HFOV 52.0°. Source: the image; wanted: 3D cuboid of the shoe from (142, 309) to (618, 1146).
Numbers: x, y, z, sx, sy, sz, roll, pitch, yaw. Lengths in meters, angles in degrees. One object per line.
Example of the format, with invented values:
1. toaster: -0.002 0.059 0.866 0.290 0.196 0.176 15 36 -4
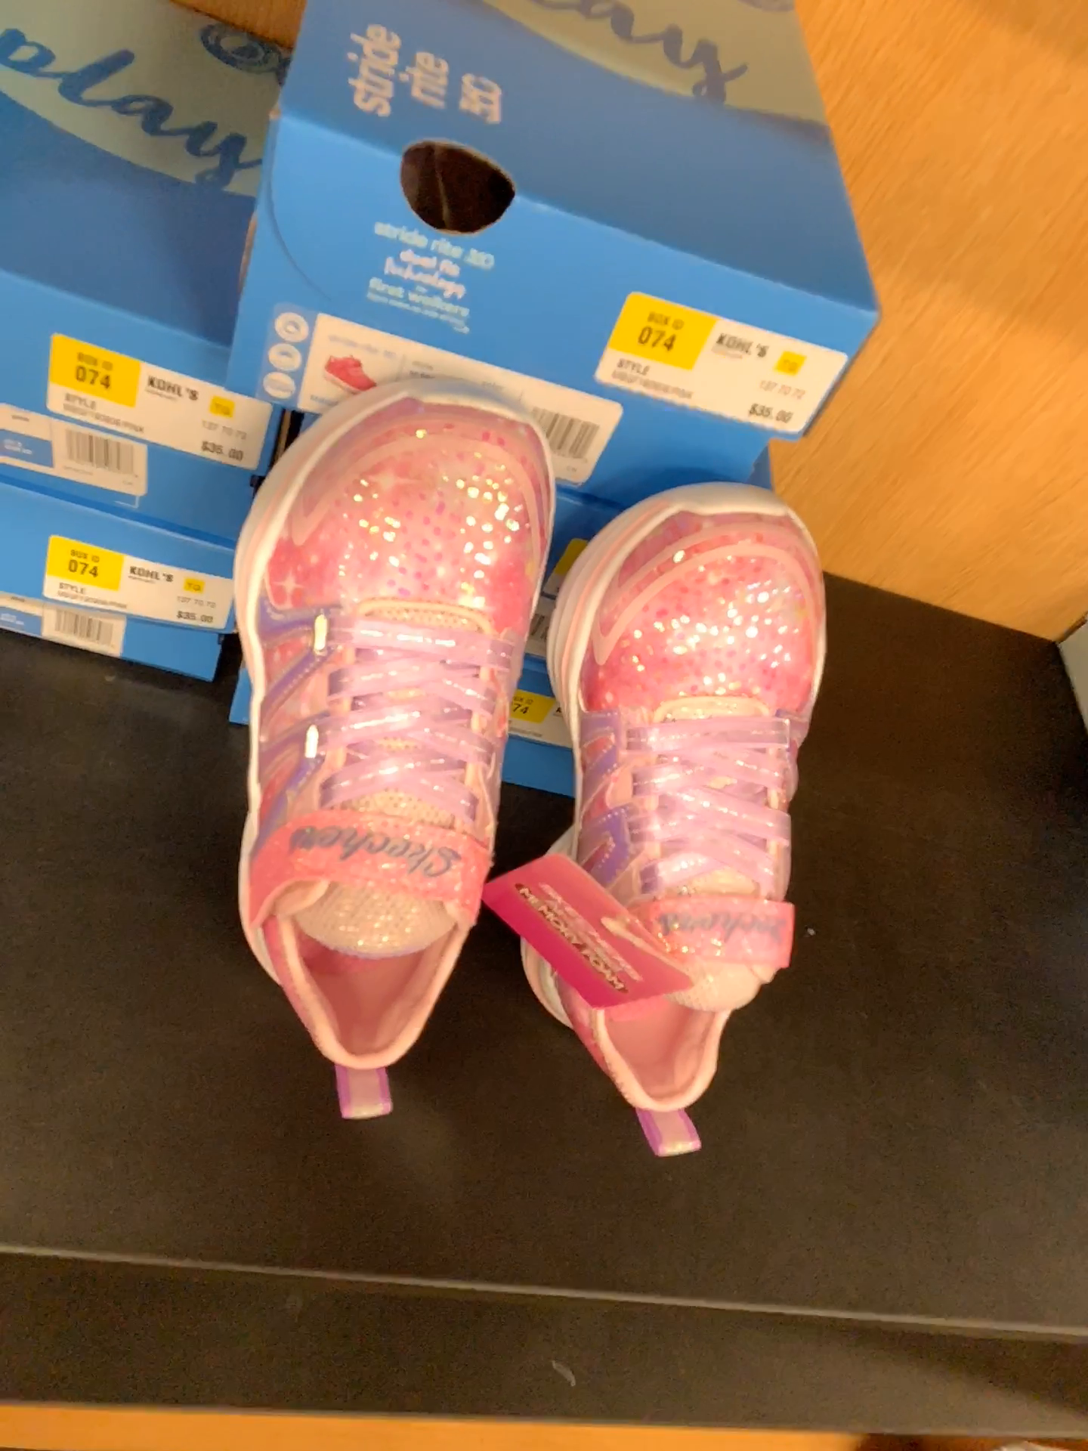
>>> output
1. shoe: -0.053 0.012 0.301 0.090 0.209 0.080 6 33 -11

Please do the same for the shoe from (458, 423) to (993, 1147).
1. shoe: 0.035 0.026 0.329 0.090 0.199 0.080 2 35 -13
